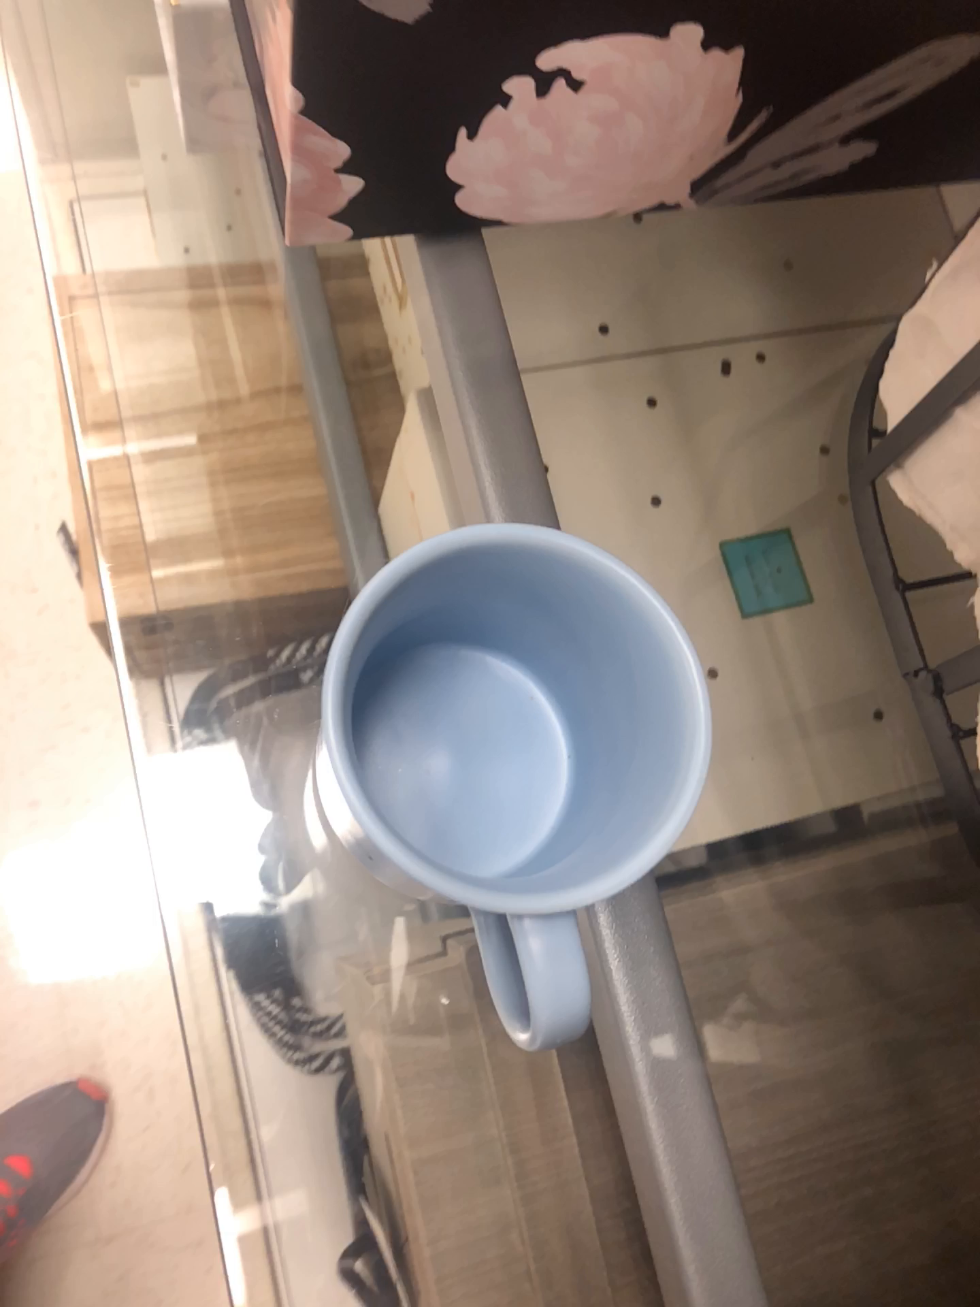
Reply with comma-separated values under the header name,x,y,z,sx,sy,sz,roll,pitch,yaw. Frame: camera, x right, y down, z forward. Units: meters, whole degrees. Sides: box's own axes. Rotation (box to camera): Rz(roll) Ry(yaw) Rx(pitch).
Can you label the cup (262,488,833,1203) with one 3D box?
name,x,y,z,sx,sy,sz,roll,pitch,yaw
cup,0.003,0.047,0.291,0.100,0.100,0.139,-11,79,-14
